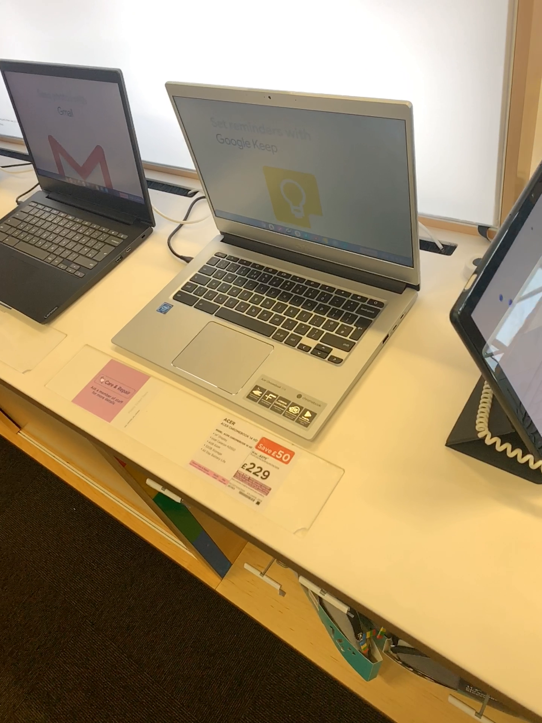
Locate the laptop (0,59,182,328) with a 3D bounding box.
[{"bbox_3d":[-0.371,-0.263,0.821,0.309,0.204,0.283,24,63,33],"label":"laptop"}]

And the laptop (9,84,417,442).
[{"bbox_3d":[-0.043,-0.122,0.586,0.304,0.207,0.237,22,60,32],"label":"laptop"}]
